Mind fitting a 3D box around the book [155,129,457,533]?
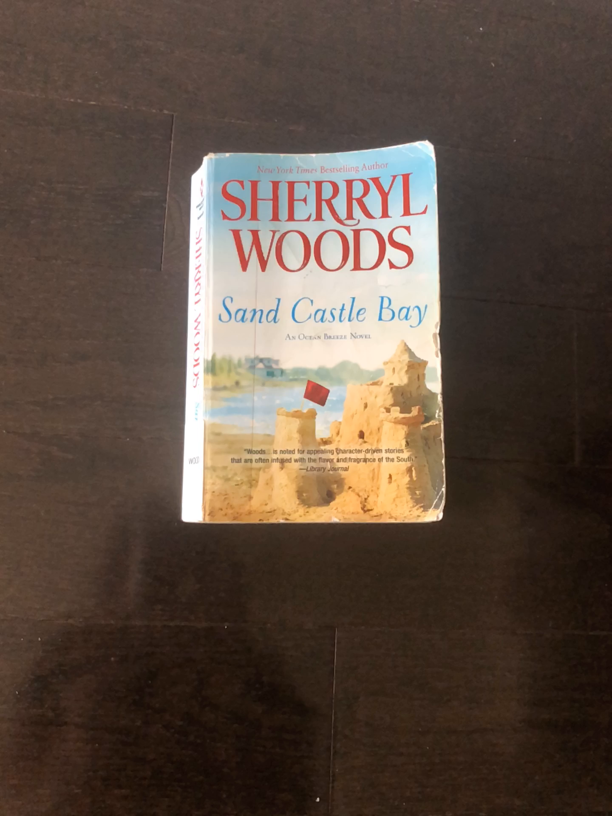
[{"bbox_3d":[-0.001,-0.031,0.292,0.119,0.037,0.161,0,85,-5],"label":"book"}]
